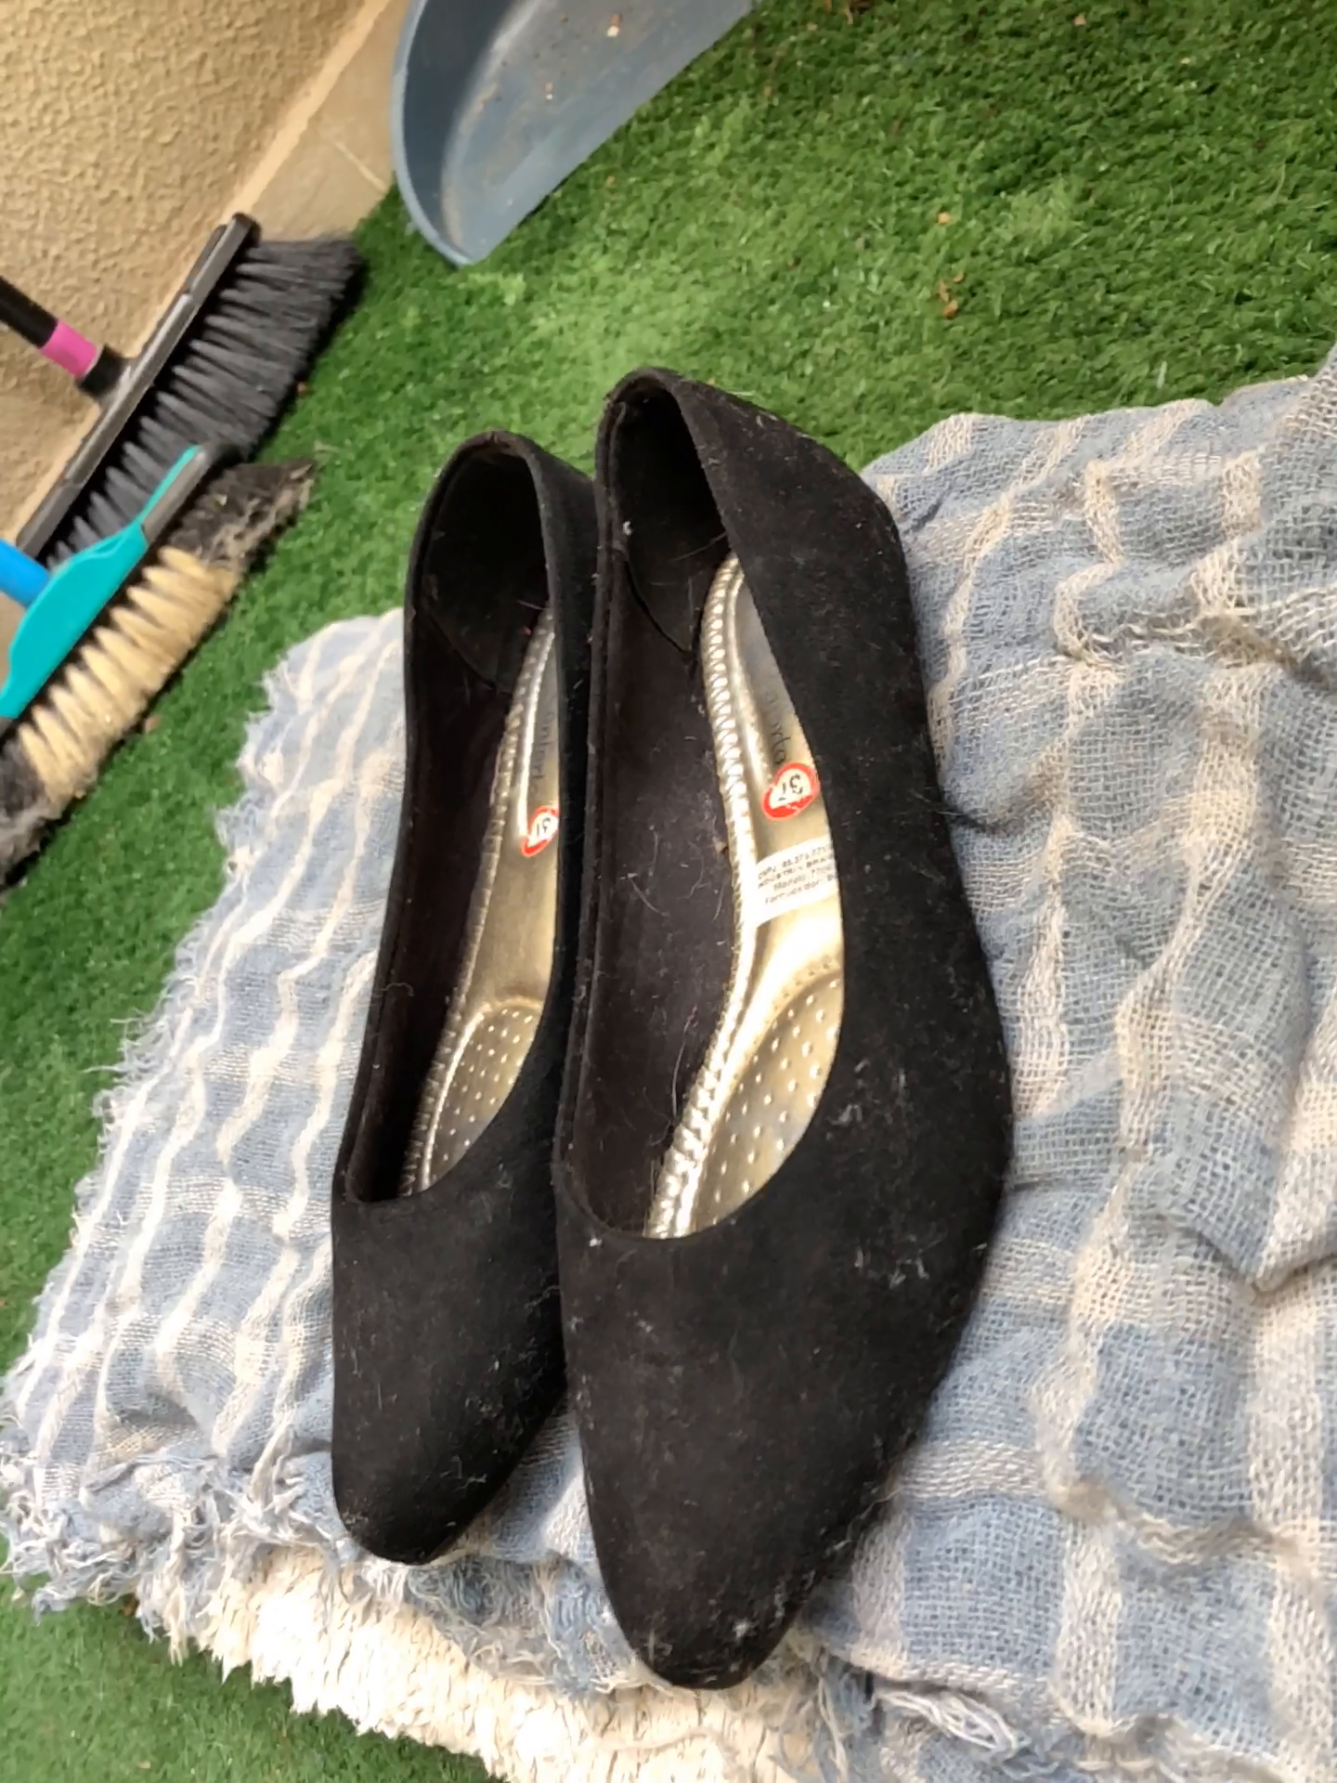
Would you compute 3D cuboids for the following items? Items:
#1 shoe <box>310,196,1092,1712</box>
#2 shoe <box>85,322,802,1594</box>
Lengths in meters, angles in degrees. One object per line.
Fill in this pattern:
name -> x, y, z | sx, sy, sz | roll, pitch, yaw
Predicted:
shoe -> 0.014, 0.003, 0.293 | 0.090, 0.079, 0.271 | -20, 53, 37
shoe -> -0.040, 0.009, 0.351 | 0.090, 0.079, 0.270 | -16, 55, 39
